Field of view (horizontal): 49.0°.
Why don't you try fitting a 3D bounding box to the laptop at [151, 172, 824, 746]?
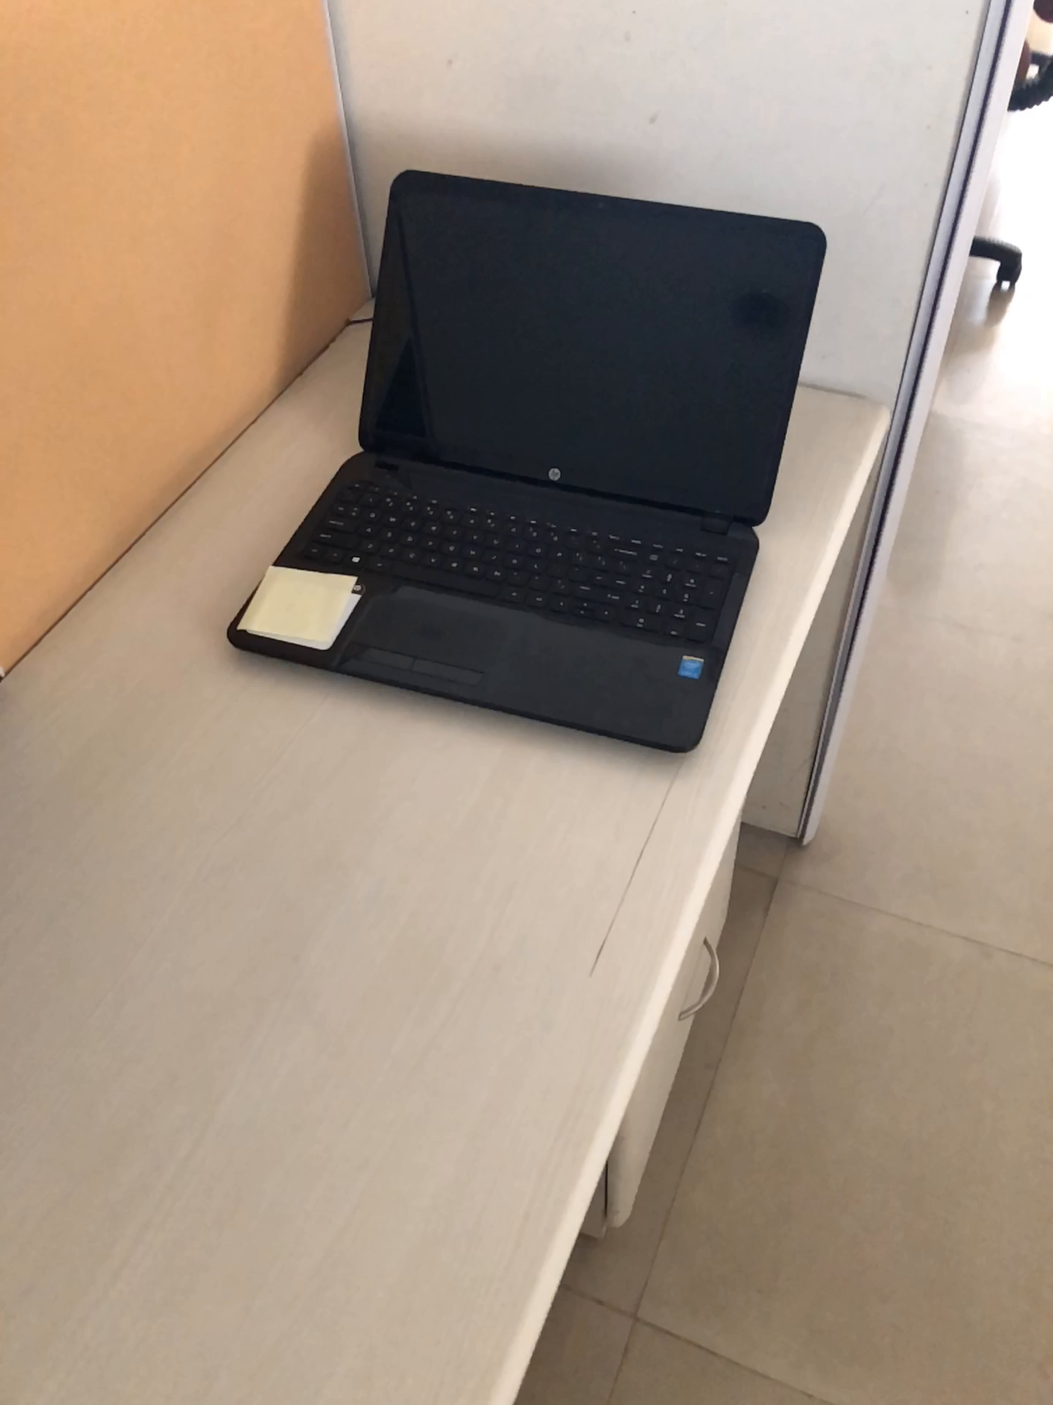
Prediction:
[{"bbox_3d":[0.001,-0.225,0.948,0.391,0.204,0.419,13,49,14],"label":"laptop"}]
